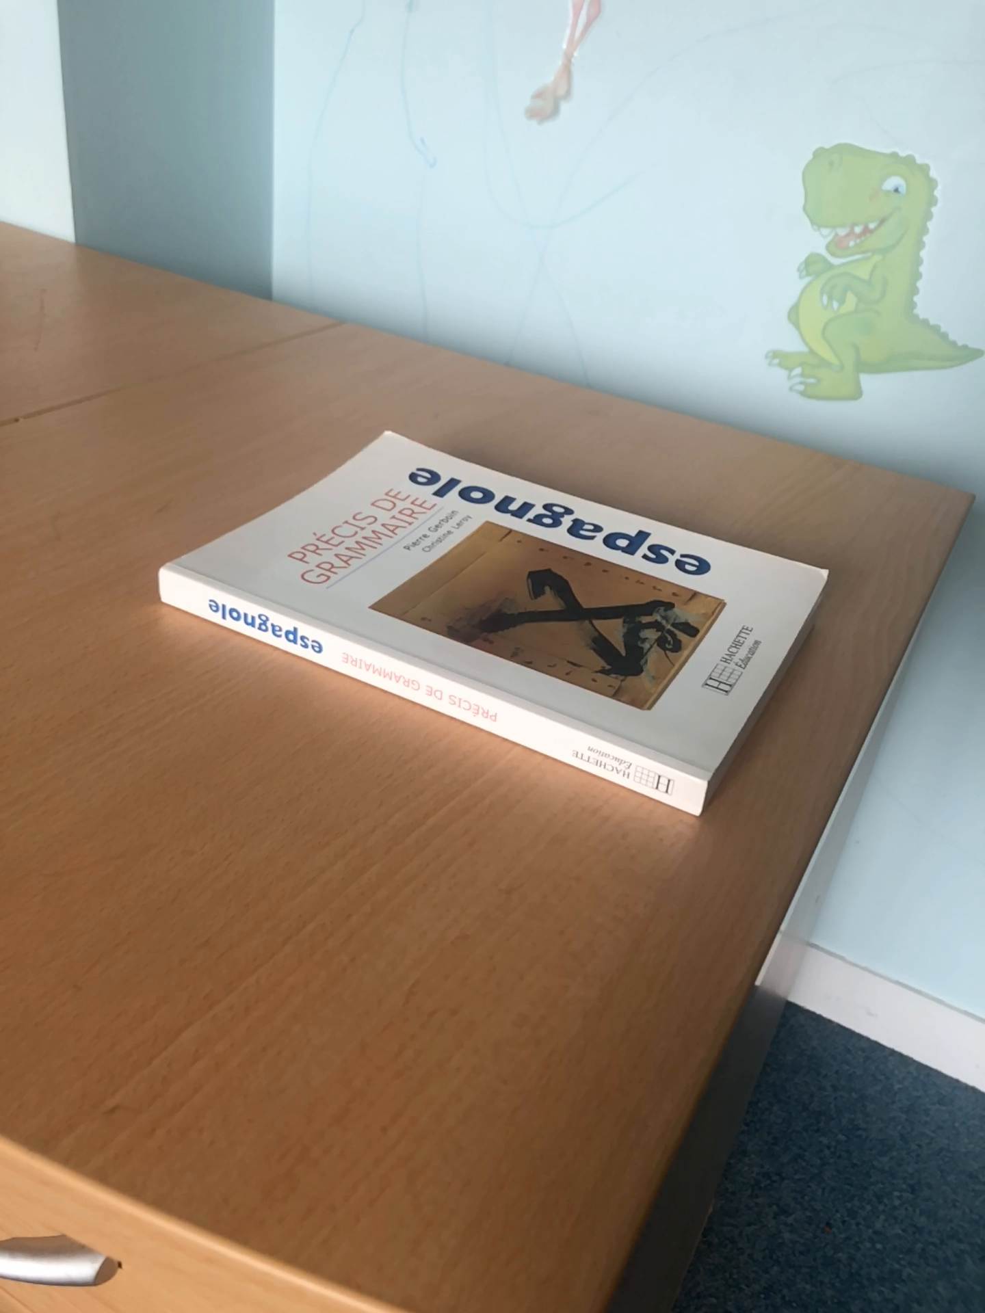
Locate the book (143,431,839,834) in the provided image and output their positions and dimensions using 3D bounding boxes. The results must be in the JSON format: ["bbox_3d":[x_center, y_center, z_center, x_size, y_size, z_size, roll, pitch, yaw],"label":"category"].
[{"bbox_3d":[0.008,-0.030,0.466,0.240,0.020,0.181,20,36,20],"label":"book"}]
